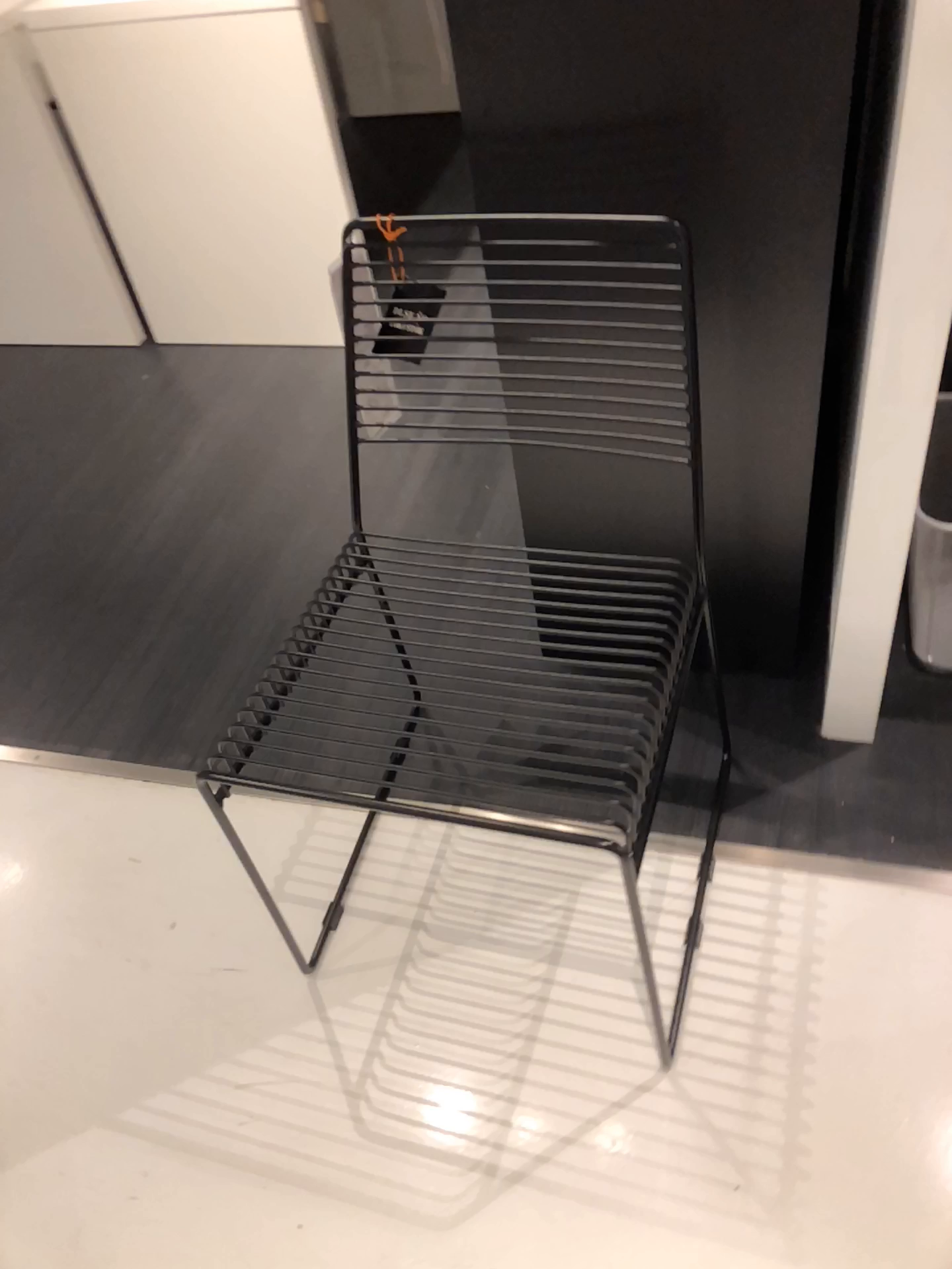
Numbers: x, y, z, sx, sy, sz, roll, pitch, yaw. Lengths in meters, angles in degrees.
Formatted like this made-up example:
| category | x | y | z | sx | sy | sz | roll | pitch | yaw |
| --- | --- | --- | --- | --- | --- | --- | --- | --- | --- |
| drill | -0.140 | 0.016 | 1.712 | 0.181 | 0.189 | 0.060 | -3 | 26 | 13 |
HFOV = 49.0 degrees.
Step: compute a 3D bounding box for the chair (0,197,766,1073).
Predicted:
| category | x | y | z | sx | sy | sz | roll | pitch | yaw |
| --- | --- | --- | --- | --- | --- | --- | --- | --- | --- |
| chair | 0.004 | 0.016 | 1.142 | 0.521 | 0.764 | 0.503 | 7 | 48 | 18 |
